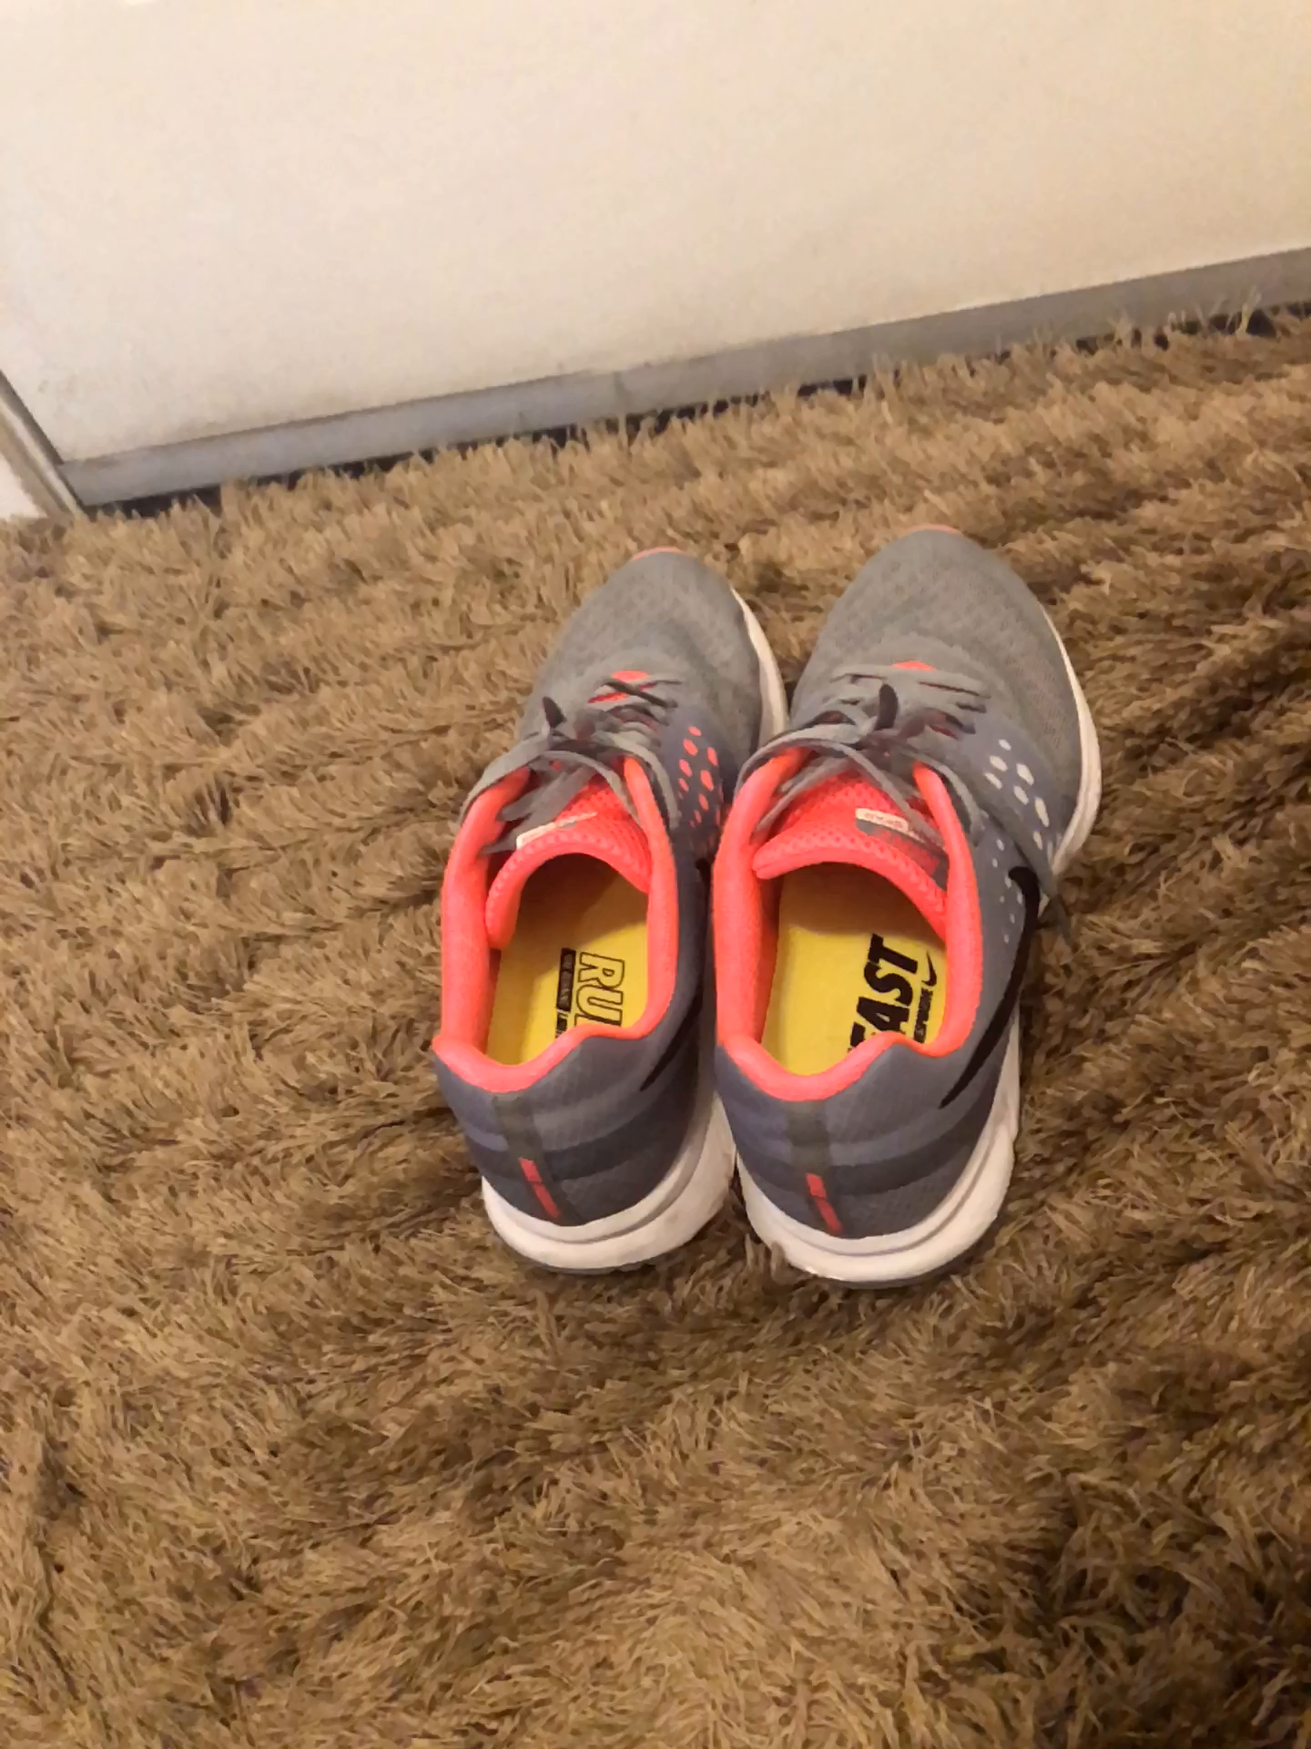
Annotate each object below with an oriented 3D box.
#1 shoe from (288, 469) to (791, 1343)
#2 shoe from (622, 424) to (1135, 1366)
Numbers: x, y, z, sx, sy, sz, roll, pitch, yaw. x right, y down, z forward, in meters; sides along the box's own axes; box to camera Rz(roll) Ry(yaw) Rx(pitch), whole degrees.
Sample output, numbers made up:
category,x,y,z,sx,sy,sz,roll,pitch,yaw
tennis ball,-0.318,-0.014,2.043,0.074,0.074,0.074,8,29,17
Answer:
category,x,y,z,sx,sy,sz,roll,pitch,yaw
shoe,-0.020,0.004,0.497,0.114,0.121,0.270,-6,52,13
shoe,0.082,-0.003,0.460,0.119,0.119,0.270,-2,53,16
